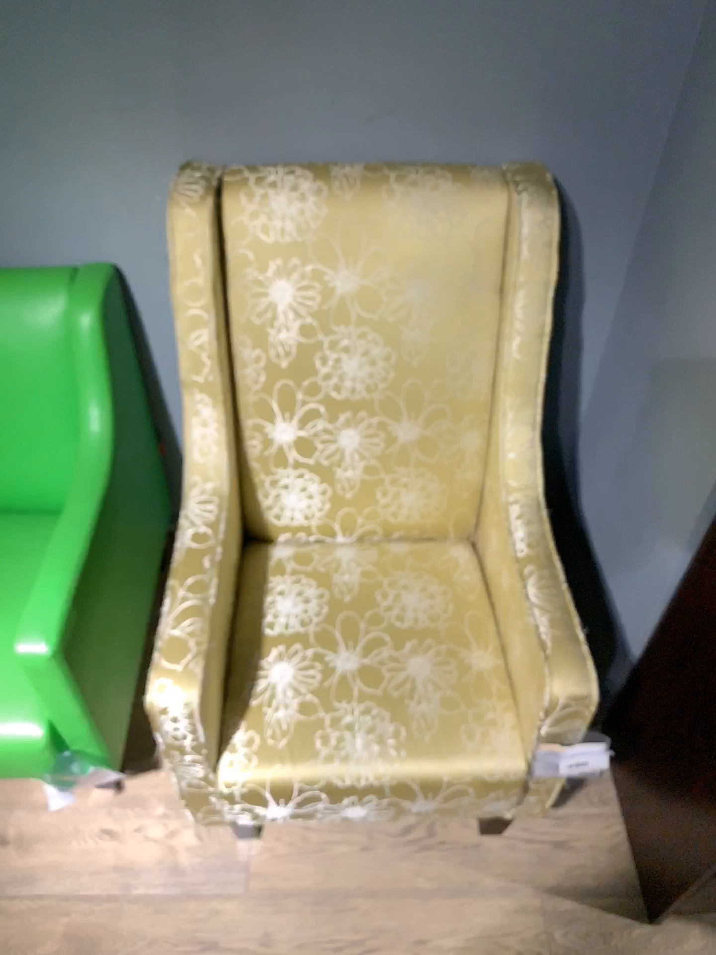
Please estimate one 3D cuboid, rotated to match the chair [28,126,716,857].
[{"bbox_3d":[0.046,0.037,1.438,0.780,1.027,0.953,0,45,-2],"label":"chair"}]
